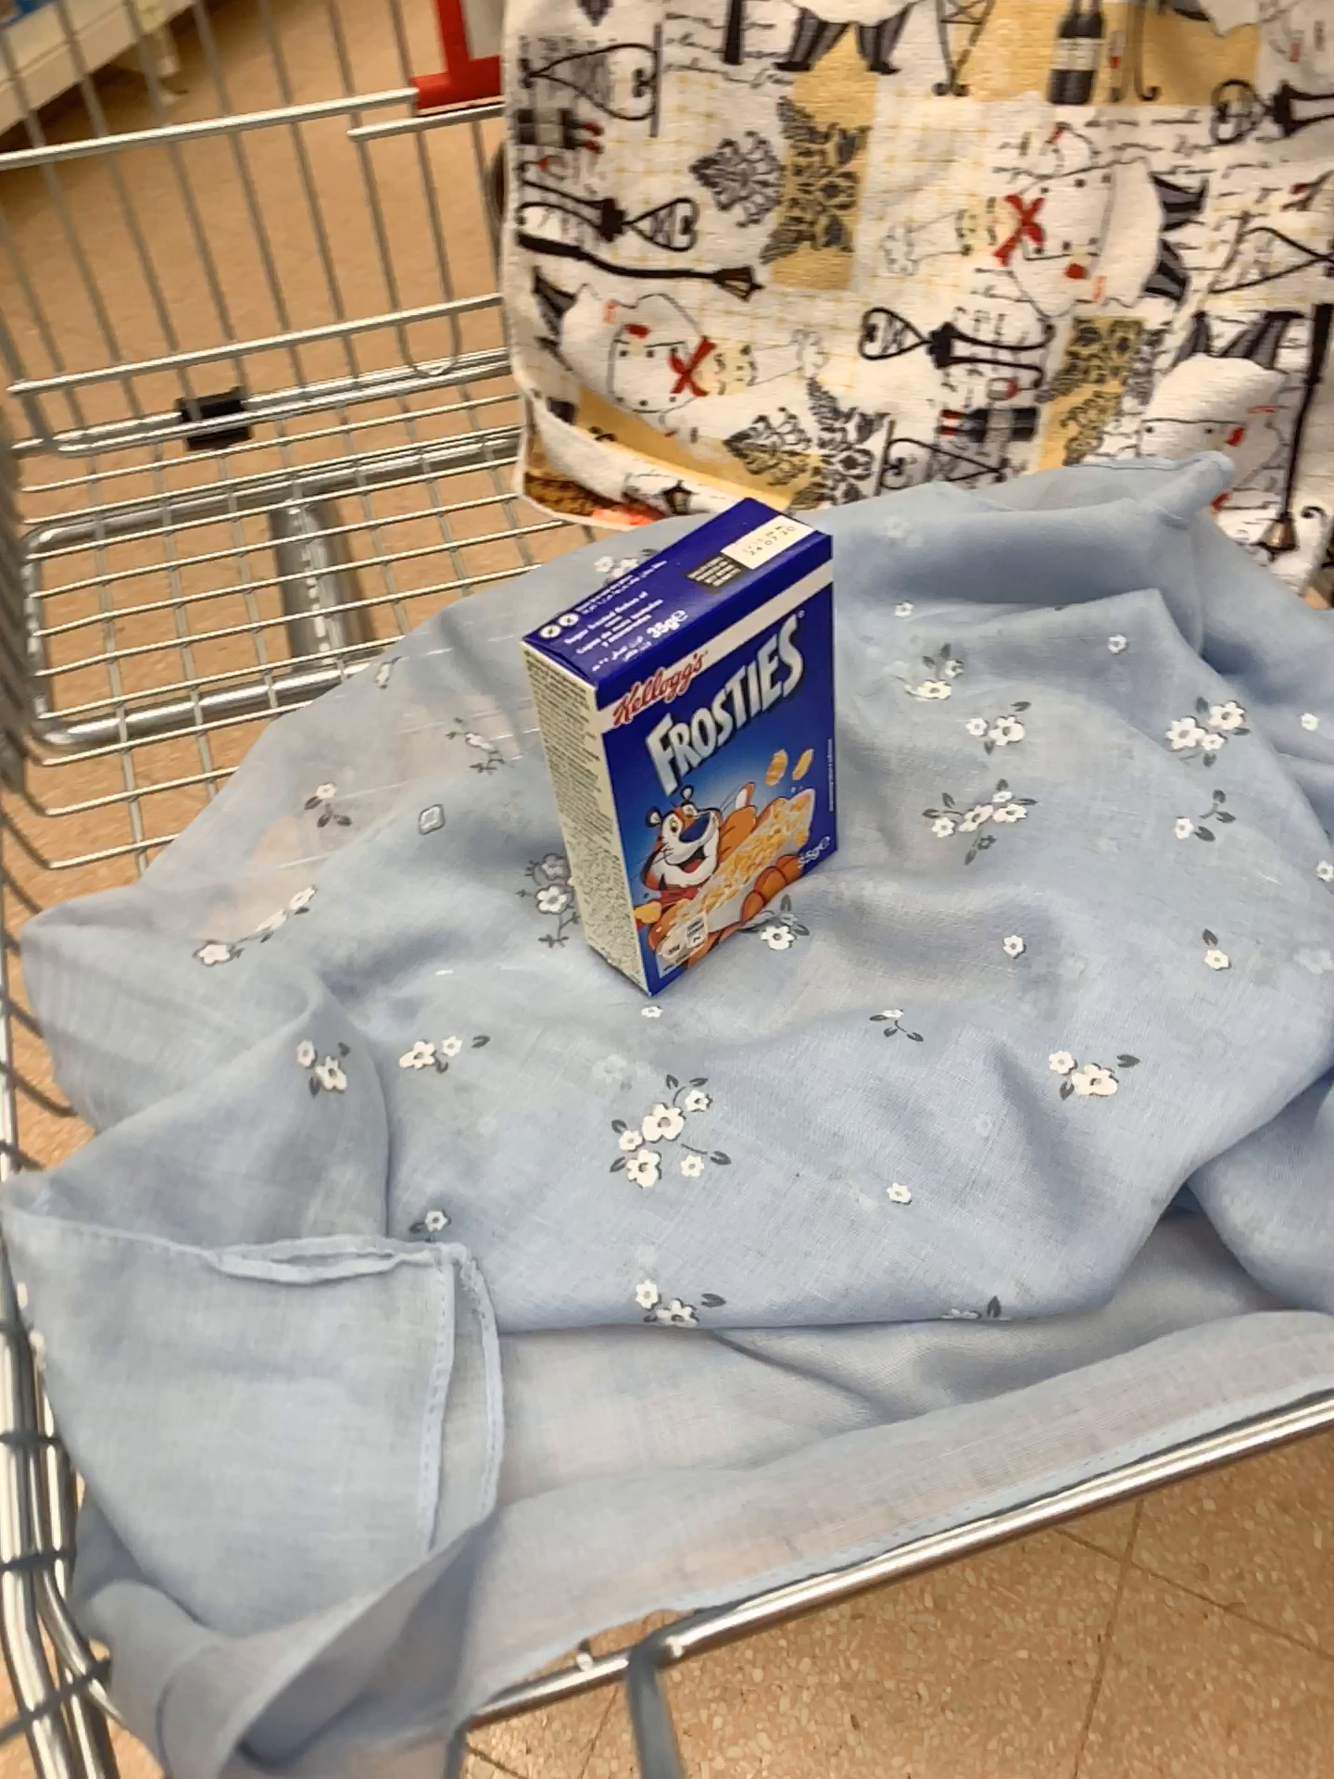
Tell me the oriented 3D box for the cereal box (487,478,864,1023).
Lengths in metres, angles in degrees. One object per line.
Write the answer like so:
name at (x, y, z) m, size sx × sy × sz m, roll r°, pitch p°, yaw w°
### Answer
cereal box at (0.010, -0.039, 0.414) m, size 0.100 × 0.129 × 0.040 m, roll -38°, pitch 54°, yaw -23°
